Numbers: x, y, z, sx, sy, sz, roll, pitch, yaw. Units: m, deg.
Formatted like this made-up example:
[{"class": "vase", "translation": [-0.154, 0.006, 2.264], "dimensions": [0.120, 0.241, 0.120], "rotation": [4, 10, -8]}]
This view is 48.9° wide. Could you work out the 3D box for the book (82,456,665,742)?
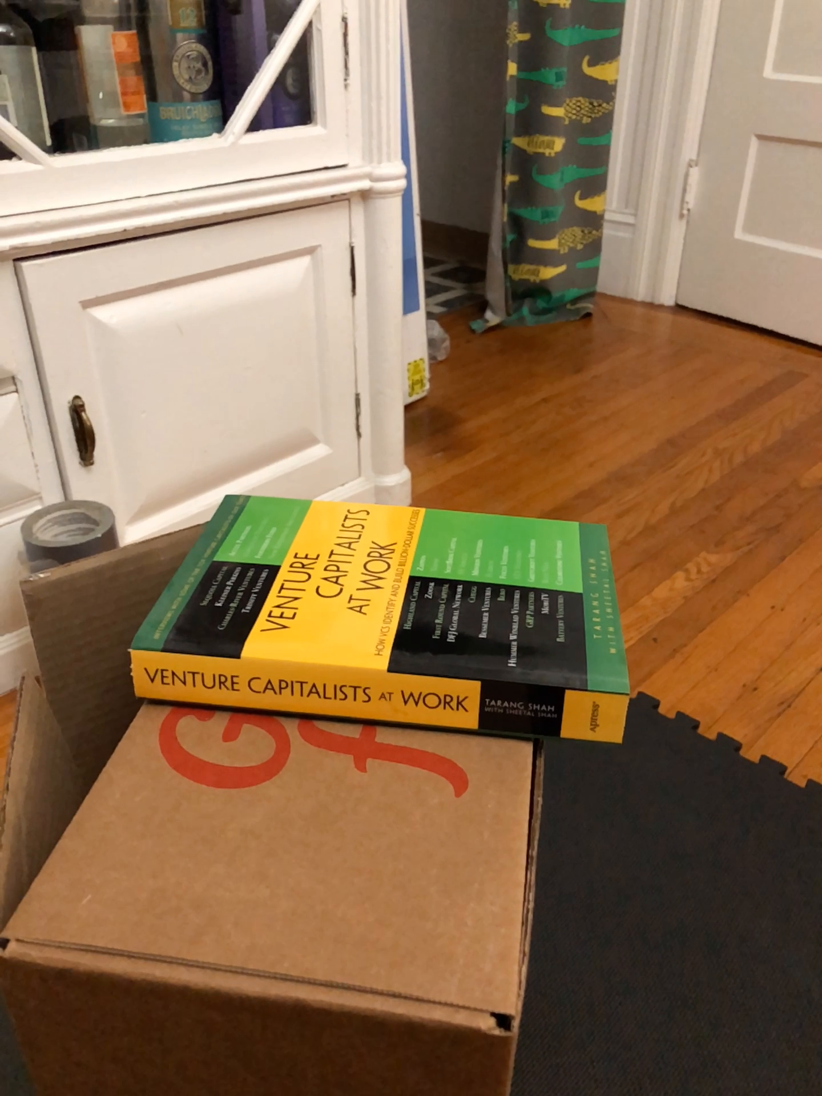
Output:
[{"class": "book", "translation": [-0.011, 0.016, 0.477], "dimensions": [0.260, 0.040, 0.161], "rotation": [5, 32, 5]}]
